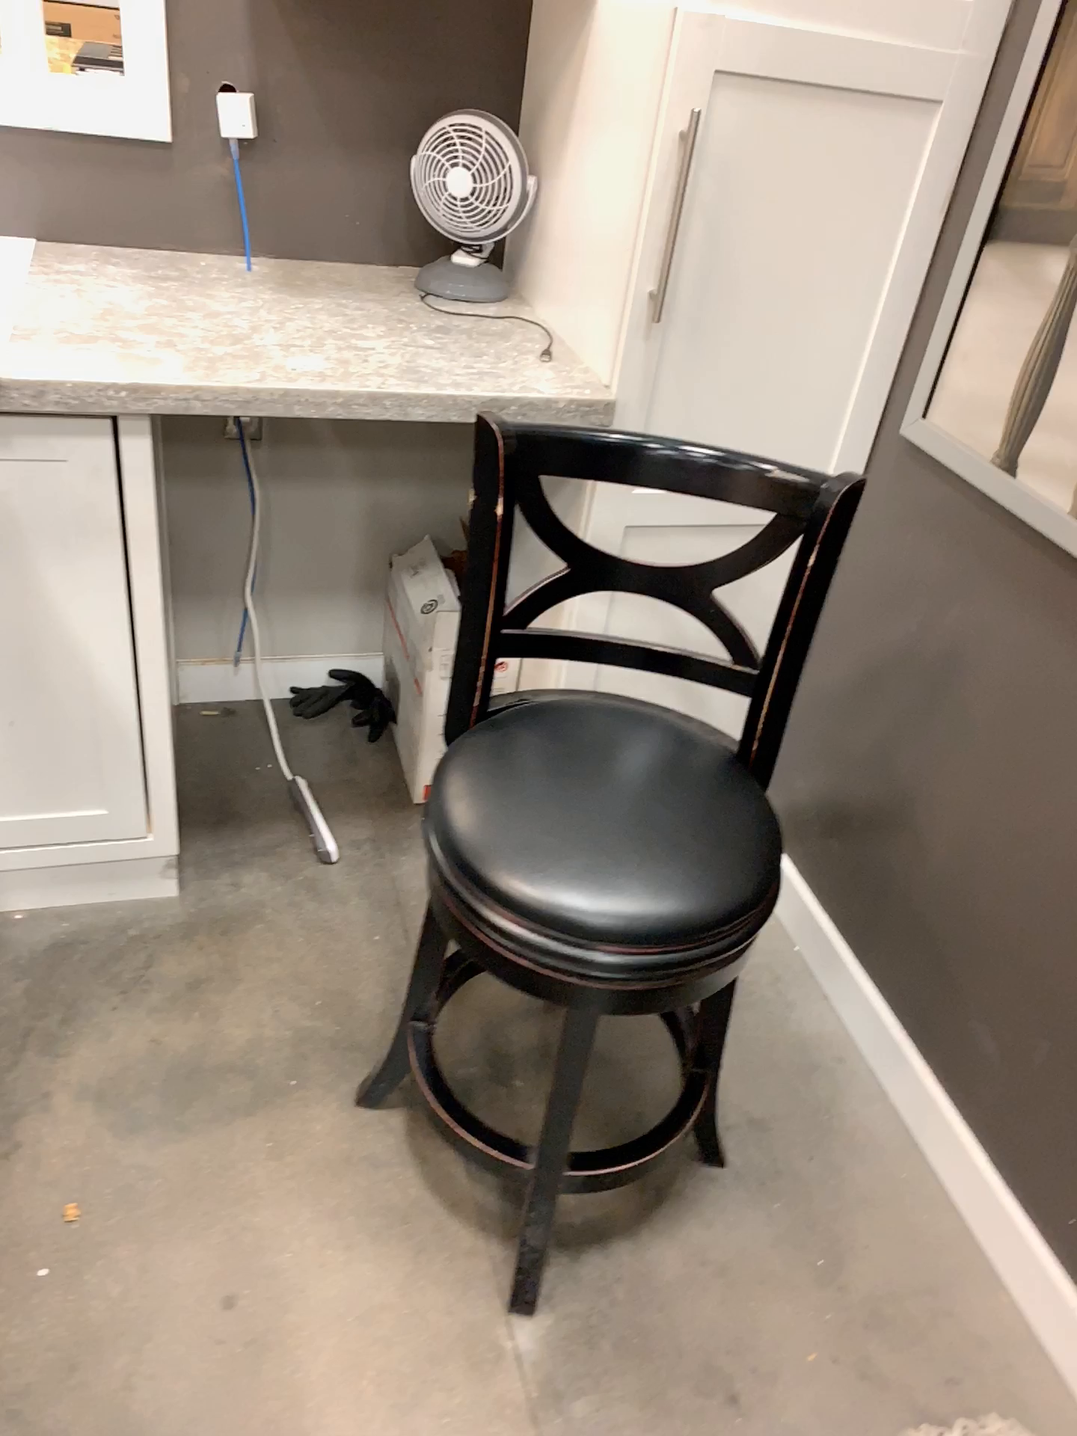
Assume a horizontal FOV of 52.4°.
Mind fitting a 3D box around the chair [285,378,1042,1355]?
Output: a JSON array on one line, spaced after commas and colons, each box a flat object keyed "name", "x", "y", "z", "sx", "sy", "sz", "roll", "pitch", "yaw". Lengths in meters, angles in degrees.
[{"name": "chair", "x": 0.057, "y": 0.180, "z": 1.310, "sx": 0.557, "sy": 0.912, "sz": 0.607, "roll": 9, "pitch": 34, "yaw": -1}]
